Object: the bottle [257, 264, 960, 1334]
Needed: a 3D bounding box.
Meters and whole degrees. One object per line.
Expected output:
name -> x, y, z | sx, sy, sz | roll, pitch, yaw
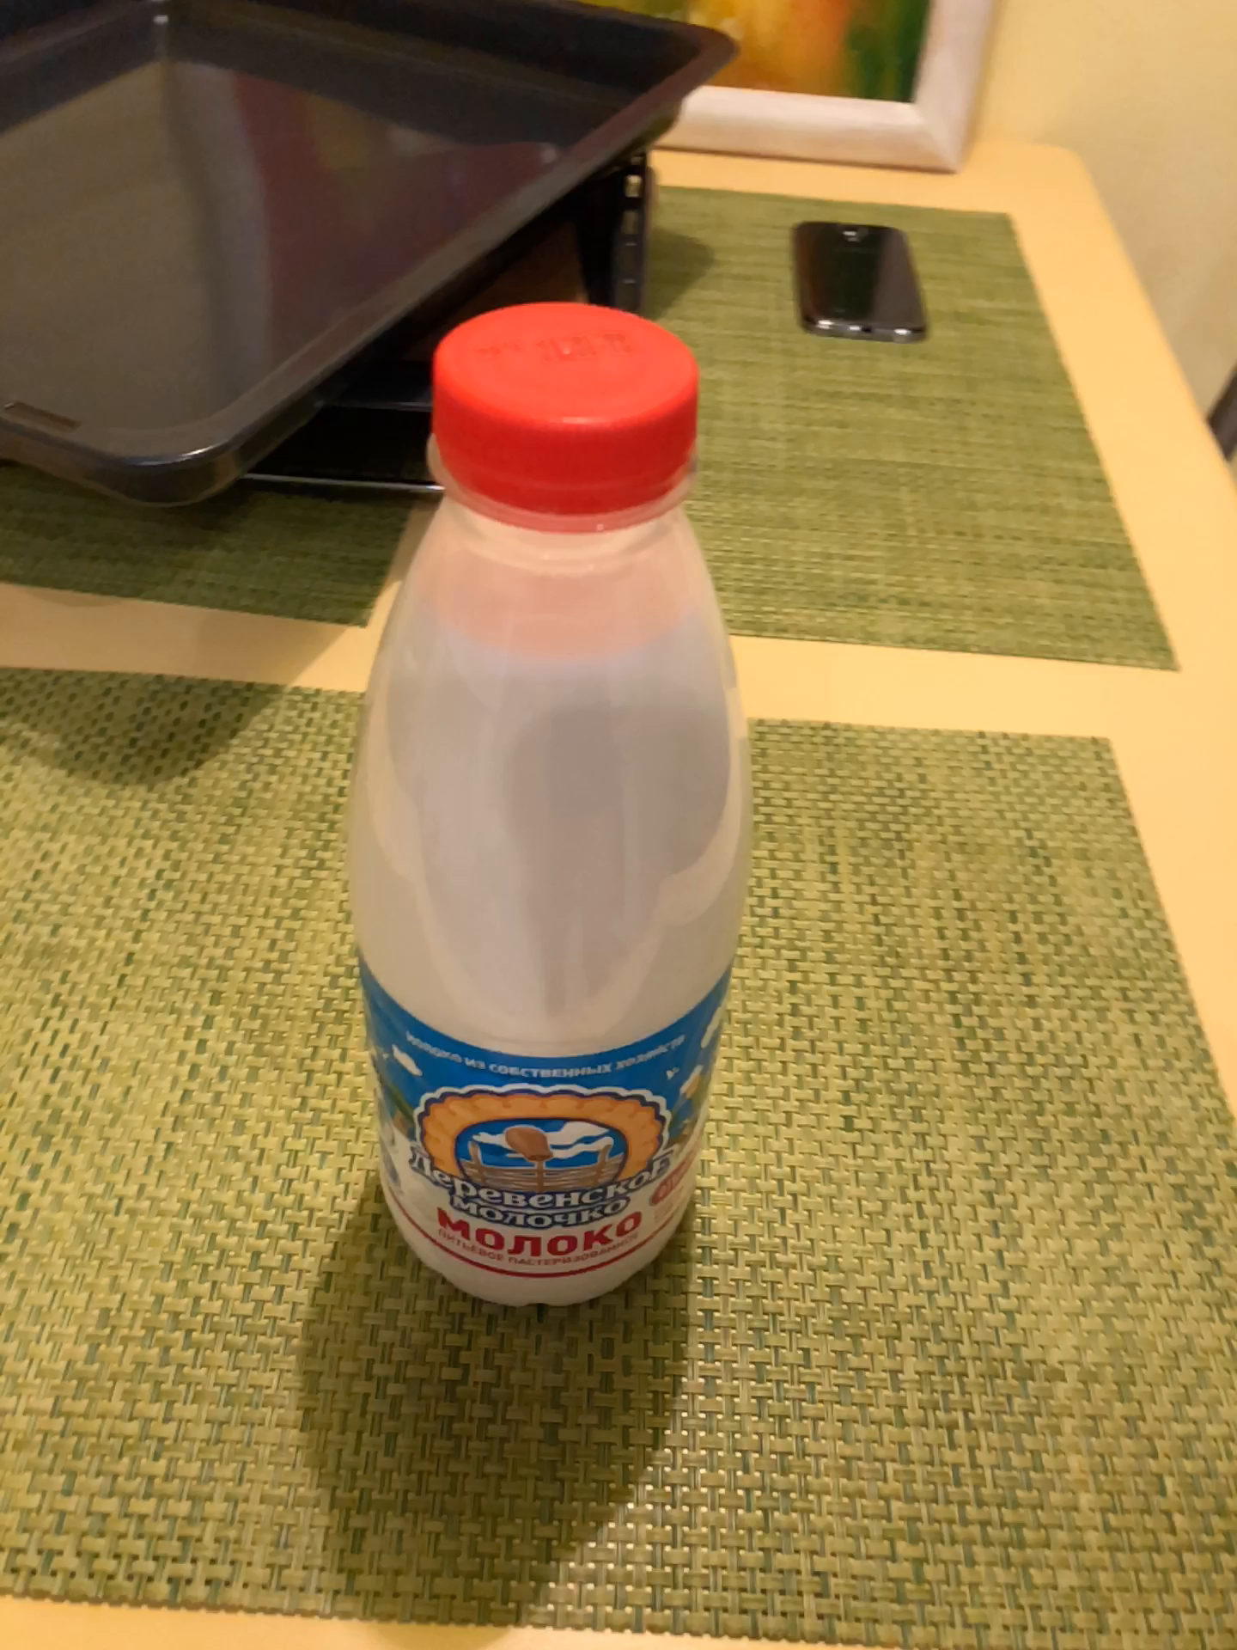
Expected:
bottle -> -0.009, 0.014, 0.283 | 0.090, 0.218, 0.091 | 3, 45, -3
